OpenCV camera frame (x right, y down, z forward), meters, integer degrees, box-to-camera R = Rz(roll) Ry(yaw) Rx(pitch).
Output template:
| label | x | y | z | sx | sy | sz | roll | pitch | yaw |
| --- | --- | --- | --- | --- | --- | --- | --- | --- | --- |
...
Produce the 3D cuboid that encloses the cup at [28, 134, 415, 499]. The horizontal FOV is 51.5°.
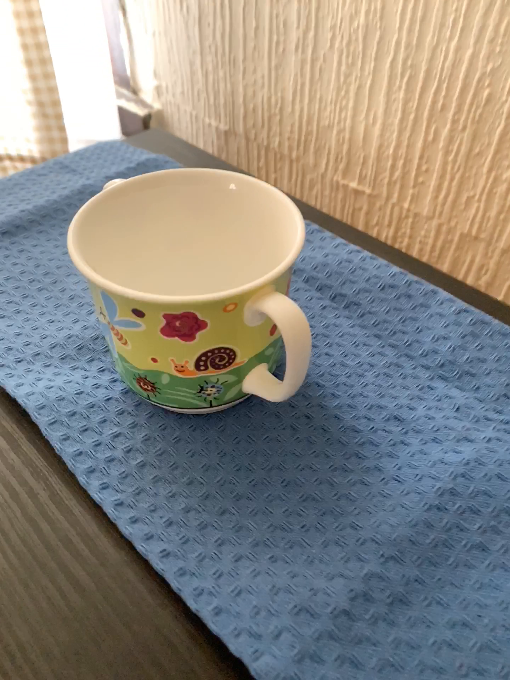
| label | x | y | z | sx | sy | sz | roll | pitch | yaw |
| --- | --- | --- | --- | --- | --- | --- | --- | --- | --- |
| cup | -0.016 | -0.018 | 0.215 | 0.080 | 0.069 | 0.121 | -34 | 54 | -29 |
